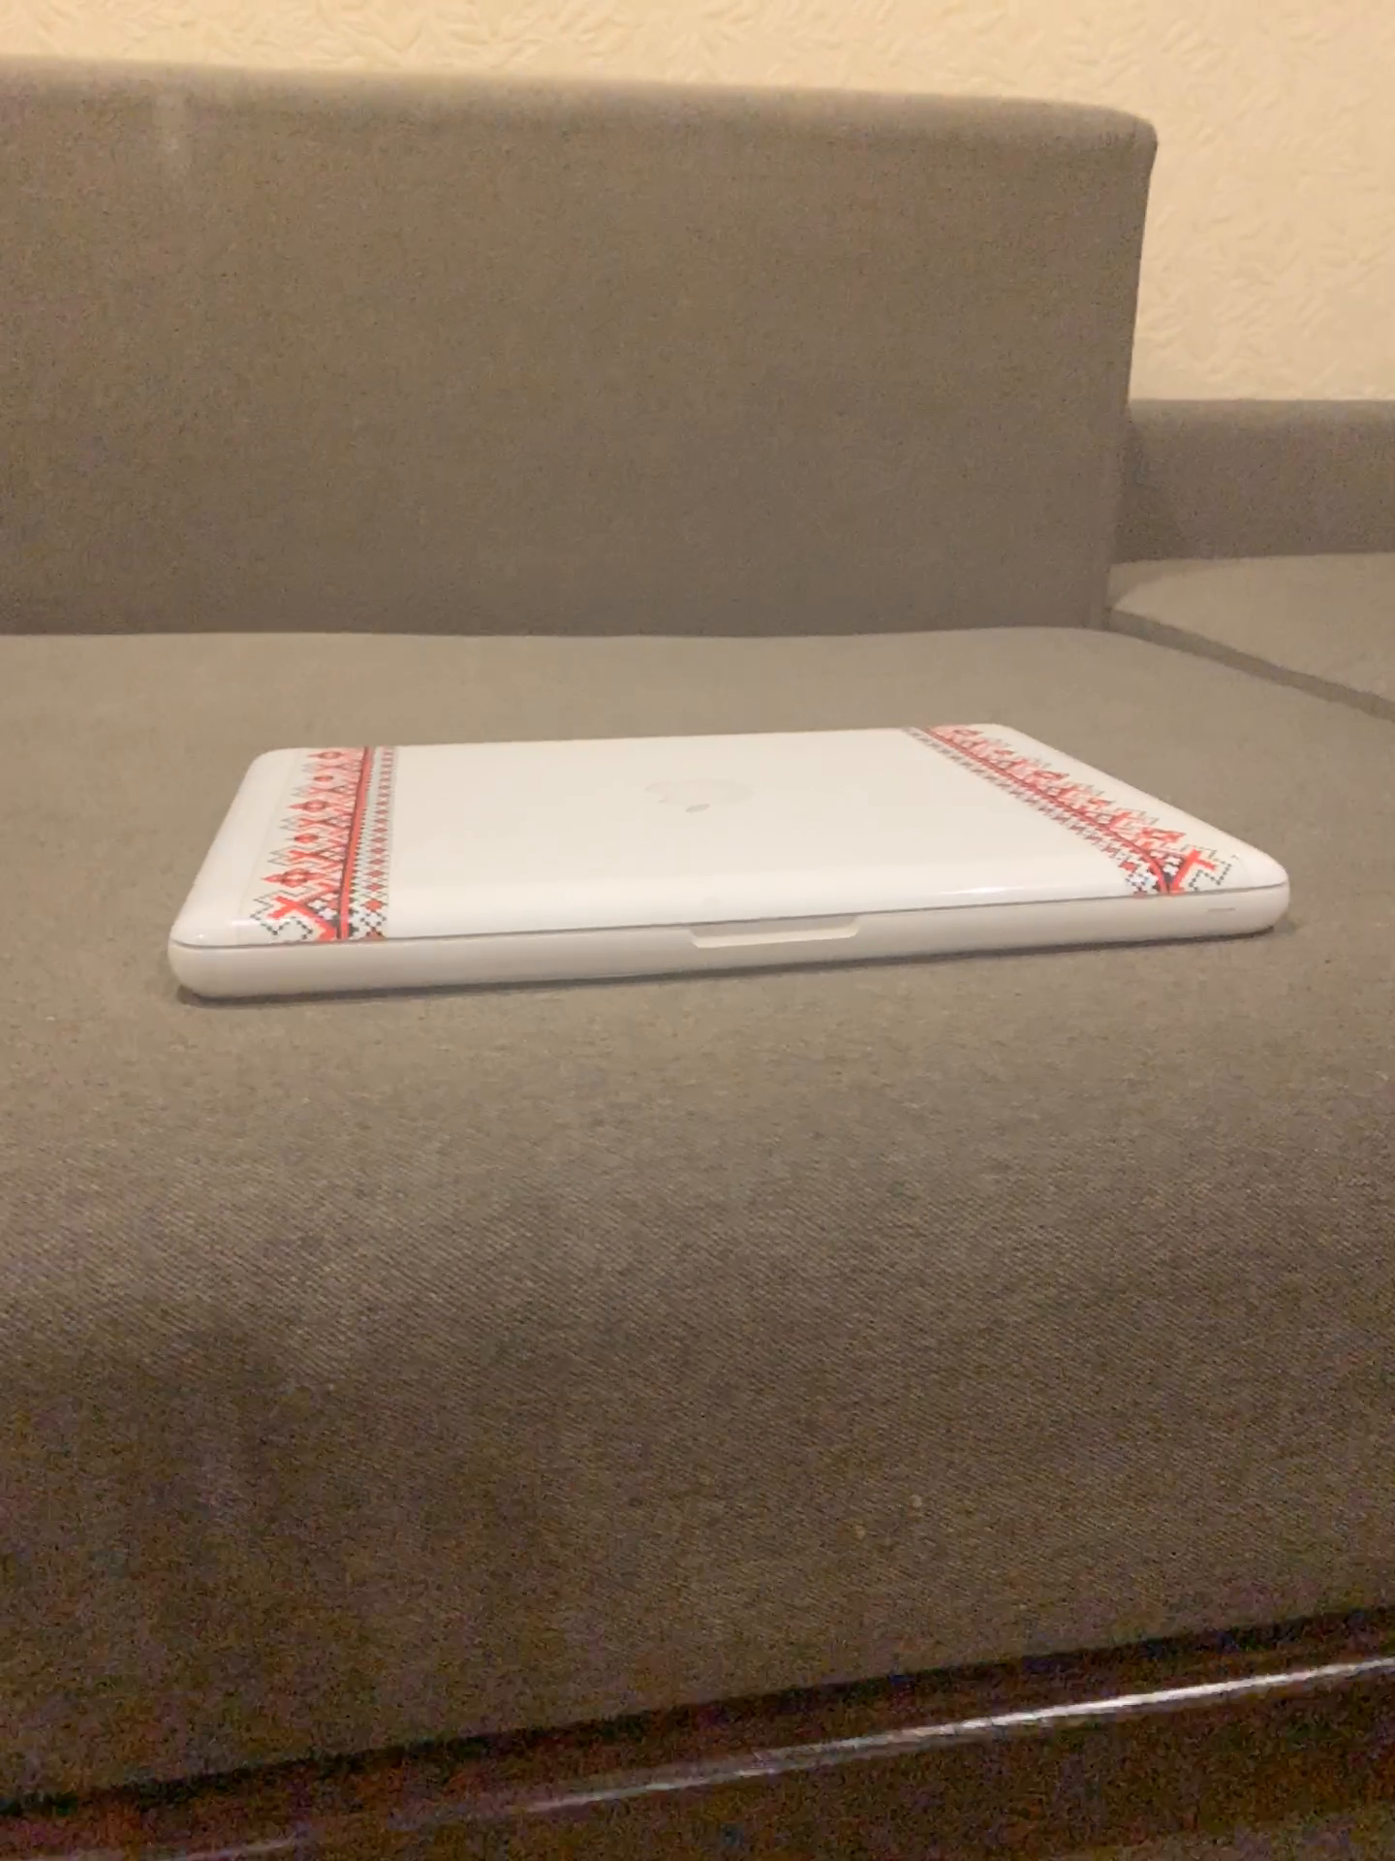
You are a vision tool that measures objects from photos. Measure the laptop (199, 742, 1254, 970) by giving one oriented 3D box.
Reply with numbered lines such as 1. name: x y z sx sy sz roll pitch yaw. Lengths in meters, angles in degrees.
1. laptop: 0.001 -0.038 0.532 0.324 0.003 0.223 -3 21 -12
